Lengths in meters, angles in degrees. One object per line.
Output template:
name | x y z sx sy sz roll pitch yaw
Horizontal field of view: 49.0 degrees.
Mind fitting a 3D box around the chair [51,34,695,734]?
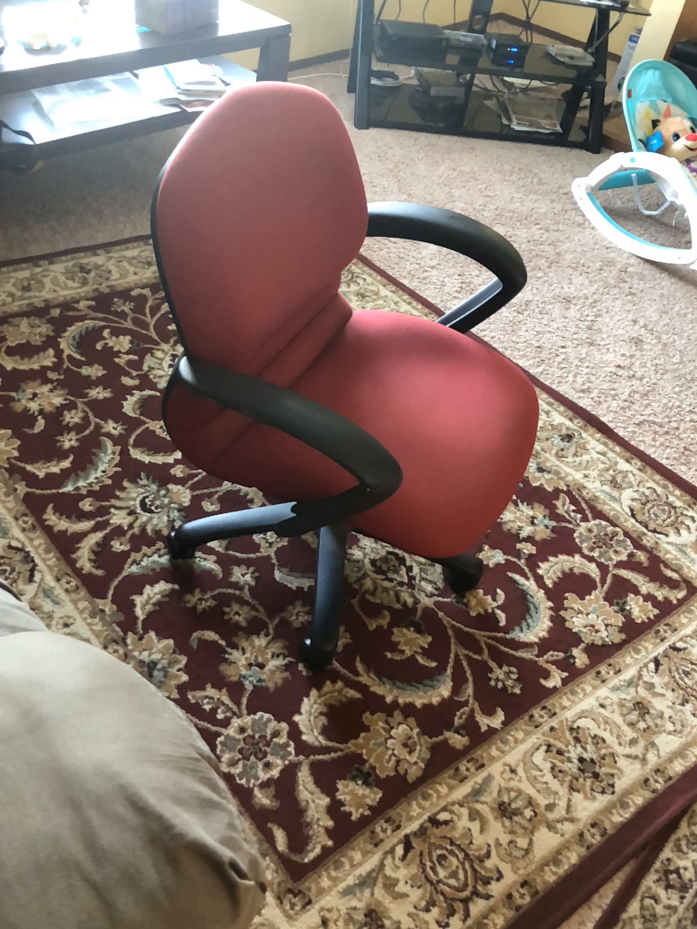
chair | 0.044 -0.149 1.241 0.620 0.728 0.651 25 46 14
